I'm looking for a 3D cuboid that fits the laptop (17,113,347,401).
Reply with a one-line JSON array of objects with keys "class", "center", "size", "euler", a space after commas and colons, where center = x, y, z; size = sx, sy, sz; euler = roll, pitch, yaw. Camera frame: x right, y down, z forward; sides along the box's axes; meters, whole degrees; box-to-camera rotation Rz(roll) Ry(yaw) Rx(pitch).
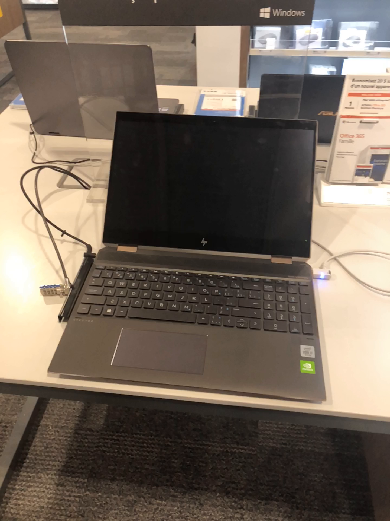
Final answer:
[{"class": "laptop", "center": [0.006, -0.048, 0.628], "size": [0.333, 0.145, 0.427], "euler": [4, 44, 8]}]
